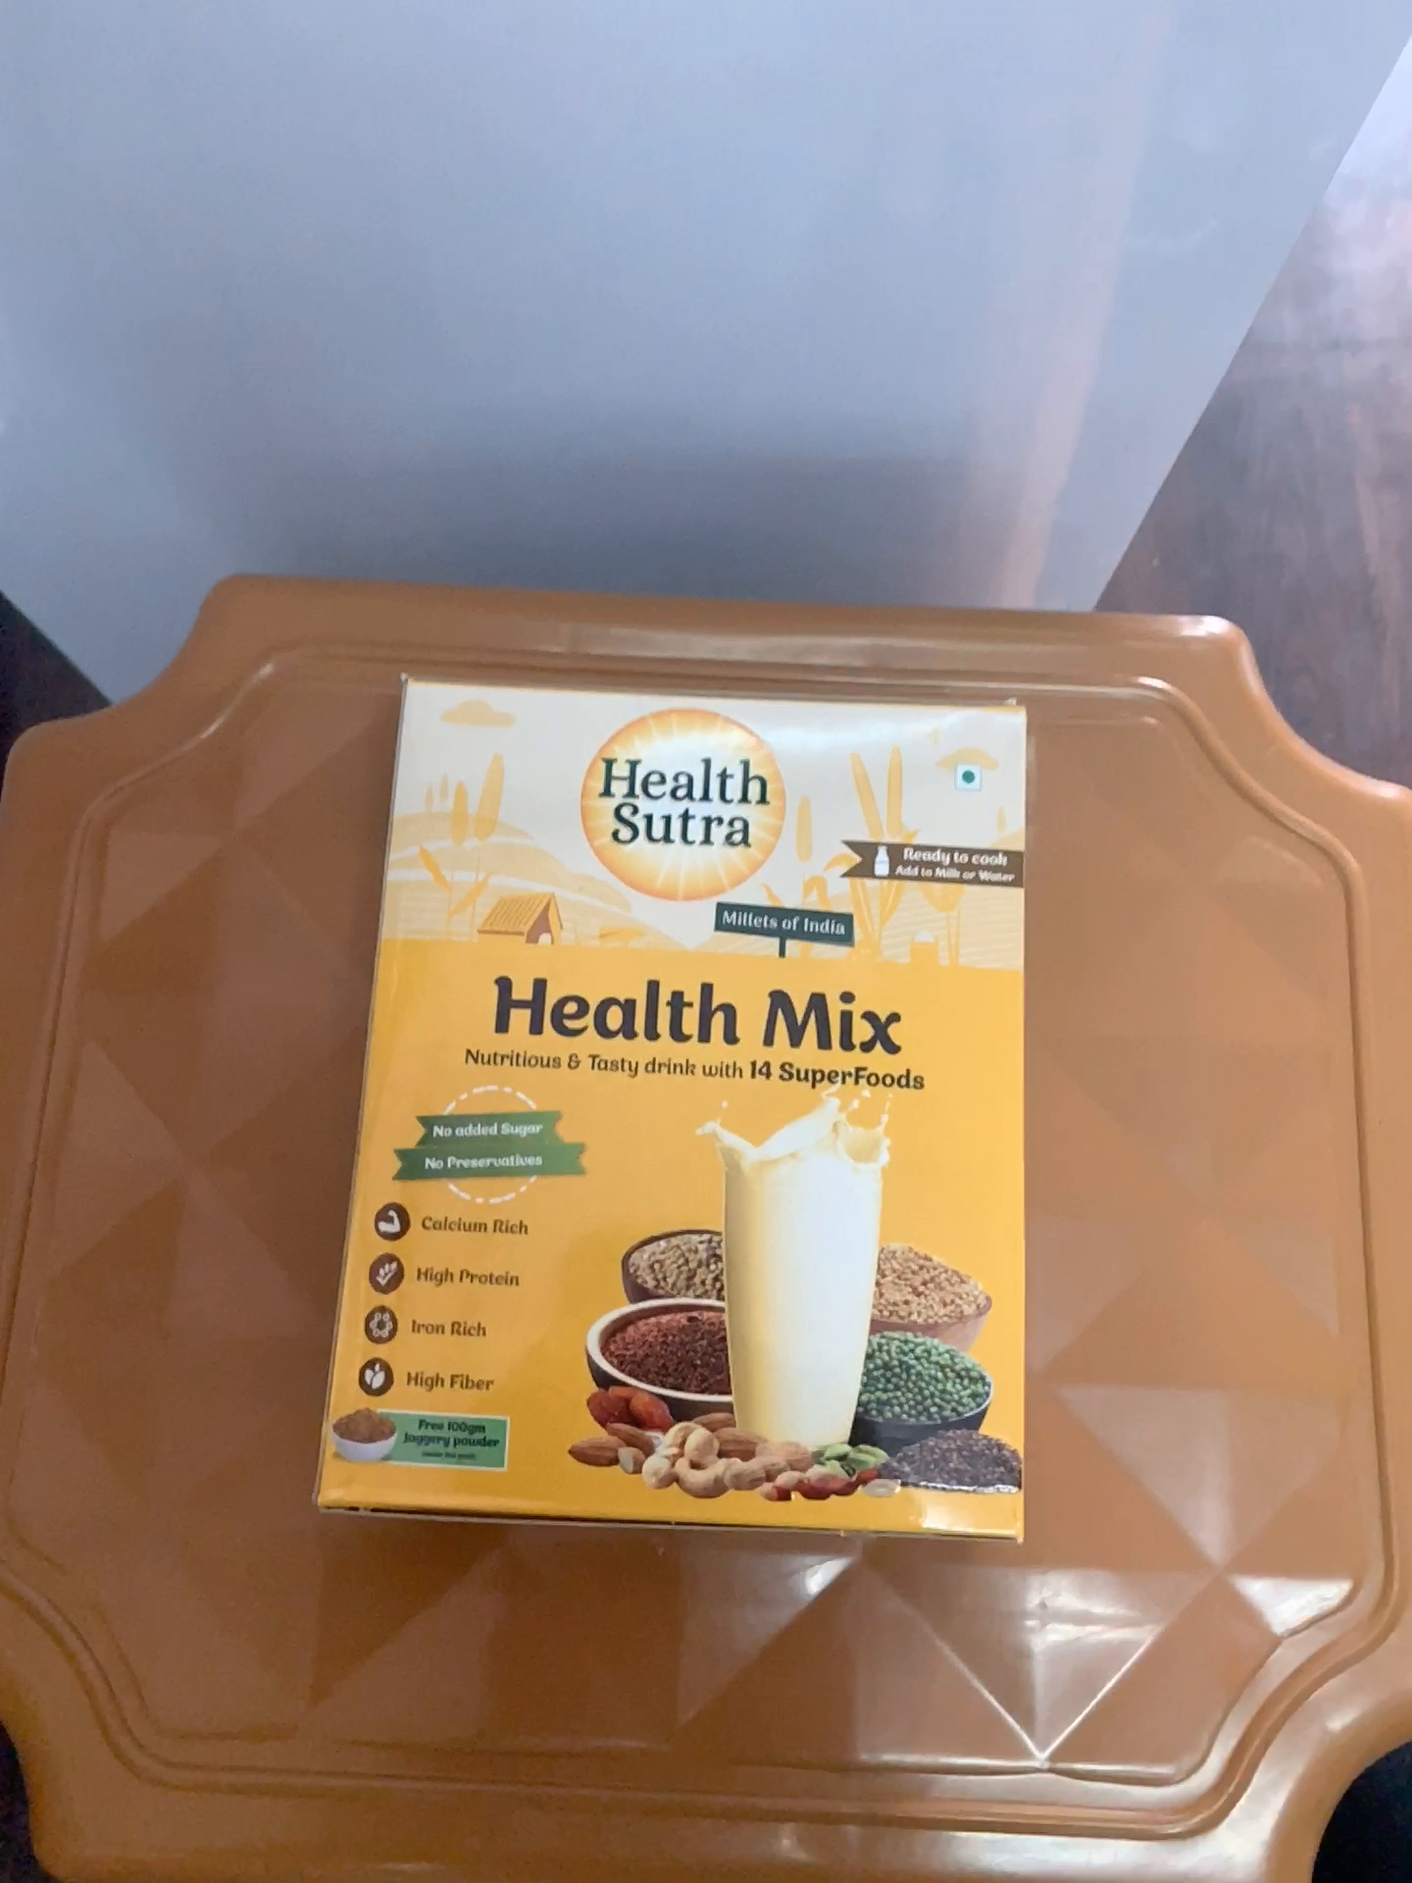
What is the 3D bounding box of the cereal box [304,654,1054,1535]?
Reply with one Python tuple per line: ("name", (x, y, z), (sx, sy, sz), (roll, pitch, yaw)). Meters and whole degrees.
("cereal box", (-0.002, 0.028, 0.291), (0.130, 0.040, 0.160), (2, 76, -1))
